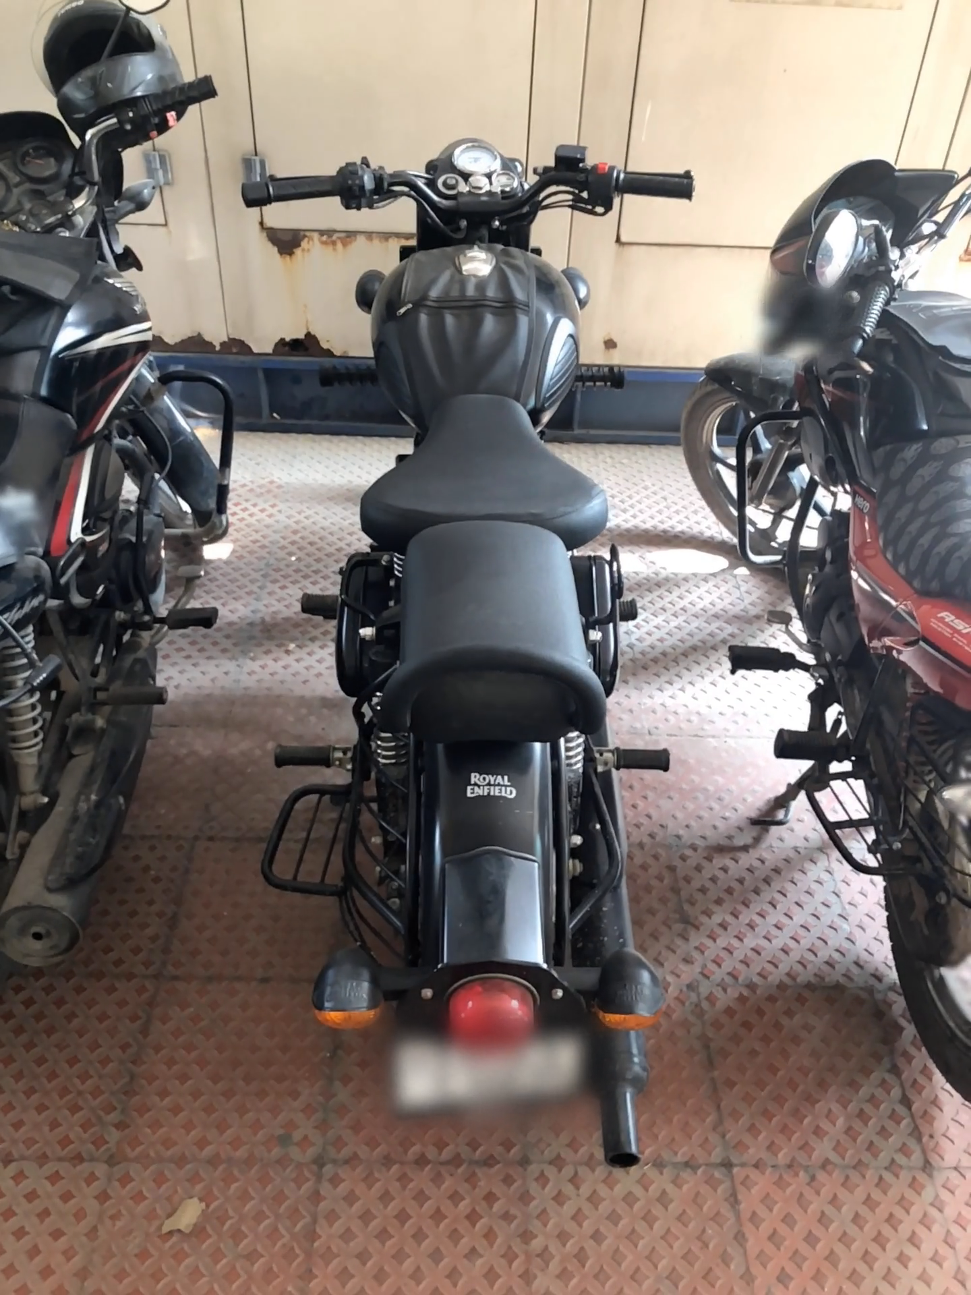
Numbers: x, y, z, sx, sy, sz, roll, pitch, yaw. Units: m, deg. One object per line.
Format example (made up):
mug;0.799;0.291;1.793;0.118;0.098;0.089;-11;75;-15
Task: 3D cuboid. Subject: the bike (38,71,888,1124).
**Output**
bike;-0.098;-0.248;1.822;0.709;0.919;1.695;-1;41;-5
